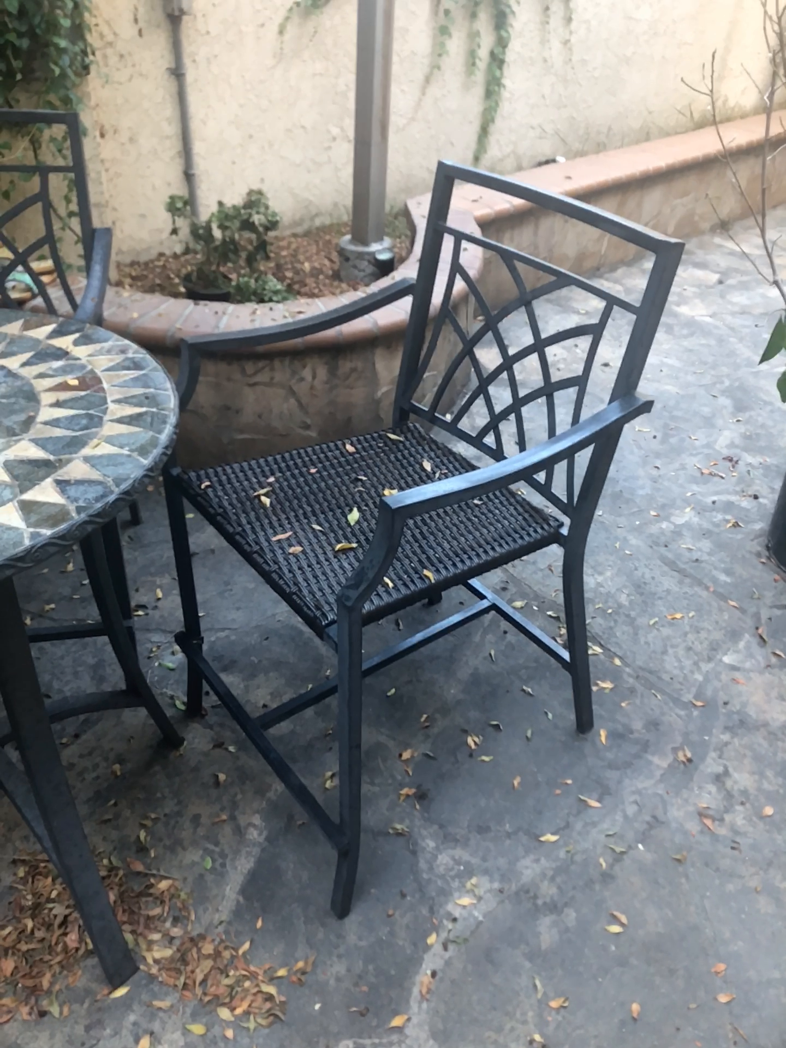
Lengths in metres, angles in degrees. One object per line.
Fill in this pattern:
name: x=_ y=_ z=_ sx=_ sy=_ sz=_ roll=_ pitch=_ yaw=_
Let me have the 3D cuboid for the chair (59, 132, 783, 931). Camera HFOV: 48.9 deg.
chair: x=0.001 y=-0.047 z=1.413 sx=0.694 sy=0.912 sz=0.682 roll=-22 pitch=43 yaw=-31
